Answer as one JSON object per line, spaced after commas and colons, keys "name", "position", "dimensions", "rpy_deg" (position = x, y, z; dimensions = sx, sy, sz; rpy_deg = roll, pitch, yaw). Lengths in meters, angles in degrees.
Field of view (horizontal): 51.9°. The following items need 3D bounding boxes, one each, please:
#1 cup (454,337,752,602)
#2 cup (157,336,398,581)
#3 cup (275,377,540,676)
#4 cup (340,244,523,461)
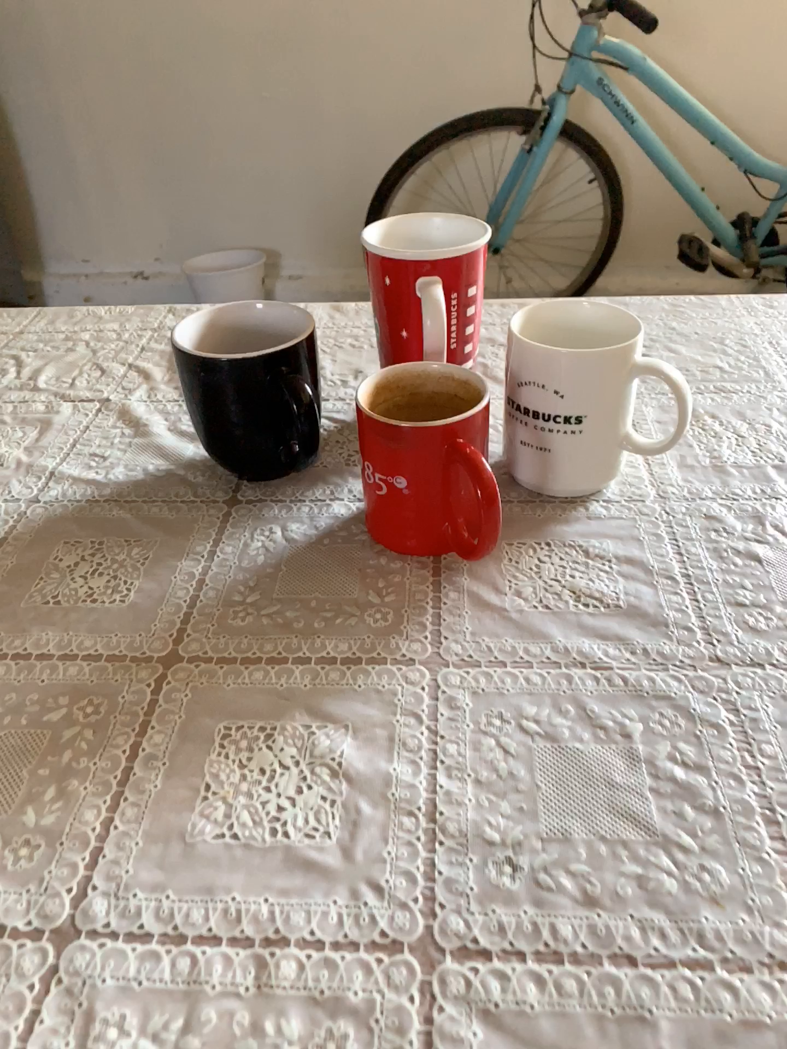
{"name": "cup", "position": [0.124, -0.041, 0.504], "dimensions": [0.141, 0.090, 0.100], "rpy_deg": [26, 46, 34]}
{"name": "cup", "position": [-0.082, -0.053, 0.569], "dimensions": [0.100, 0.090, 0.151], "rpy_deg": [-23, 41, -24]}
{"name": "cup", "position": [0.005, -0.005, 0.443], "dimensions": [0.080, 0.090, 0.131], "rpy_deg": [-22, 40, -23]}
{"name": "cup", "position": [0.022, -0.125, 0.568], "dimensions": [0.100, 0.090, 0.141], "rpy_deg": [-7, 37, -4]}
